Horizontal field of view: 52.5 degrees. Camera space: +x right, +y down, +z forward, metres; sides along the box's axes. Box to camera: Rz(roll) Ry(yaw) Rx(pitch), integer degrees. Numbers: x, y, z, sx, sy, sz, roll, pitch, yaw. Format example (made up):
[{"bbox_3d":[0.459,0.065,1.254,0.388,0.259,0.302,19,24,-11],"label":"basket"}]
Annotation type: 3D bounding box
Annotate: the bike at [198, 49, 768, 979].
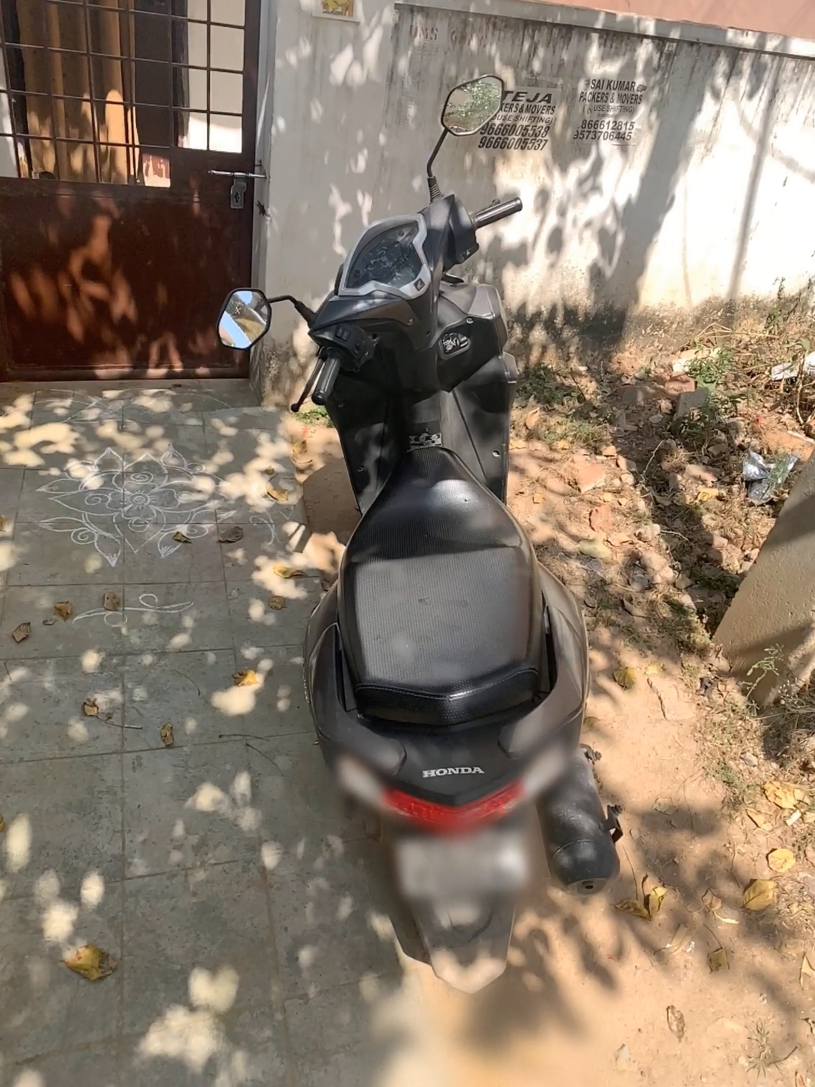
[{"bbox_3d":[-0.125,-0.161,1.779,0.606,1.177,1.514,0,39,-14],"label":"bike"}]
